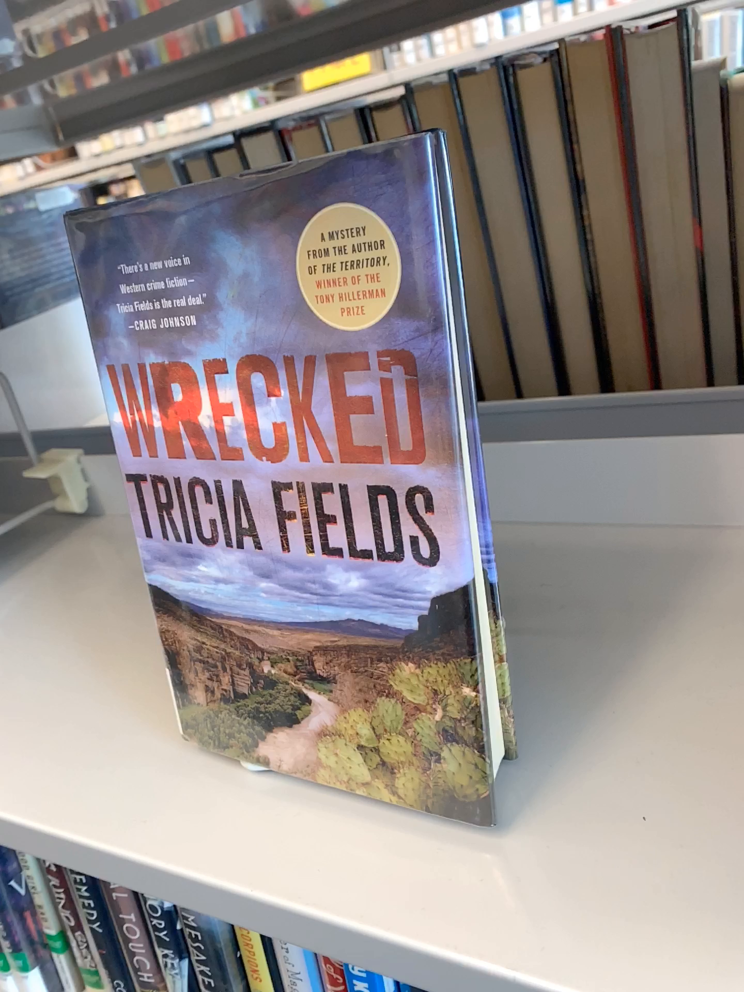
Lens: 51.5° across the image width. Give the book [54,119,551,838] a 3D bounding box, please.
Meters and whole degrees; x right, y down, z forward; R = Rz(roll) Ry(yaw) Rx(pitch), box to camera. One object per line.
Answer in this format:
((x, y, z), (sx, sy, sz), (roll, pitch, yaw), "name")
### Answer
((-0.023, 0.001, 0.271), (0.147, 0.213, 0.035), (1, 19, 31), "book")
